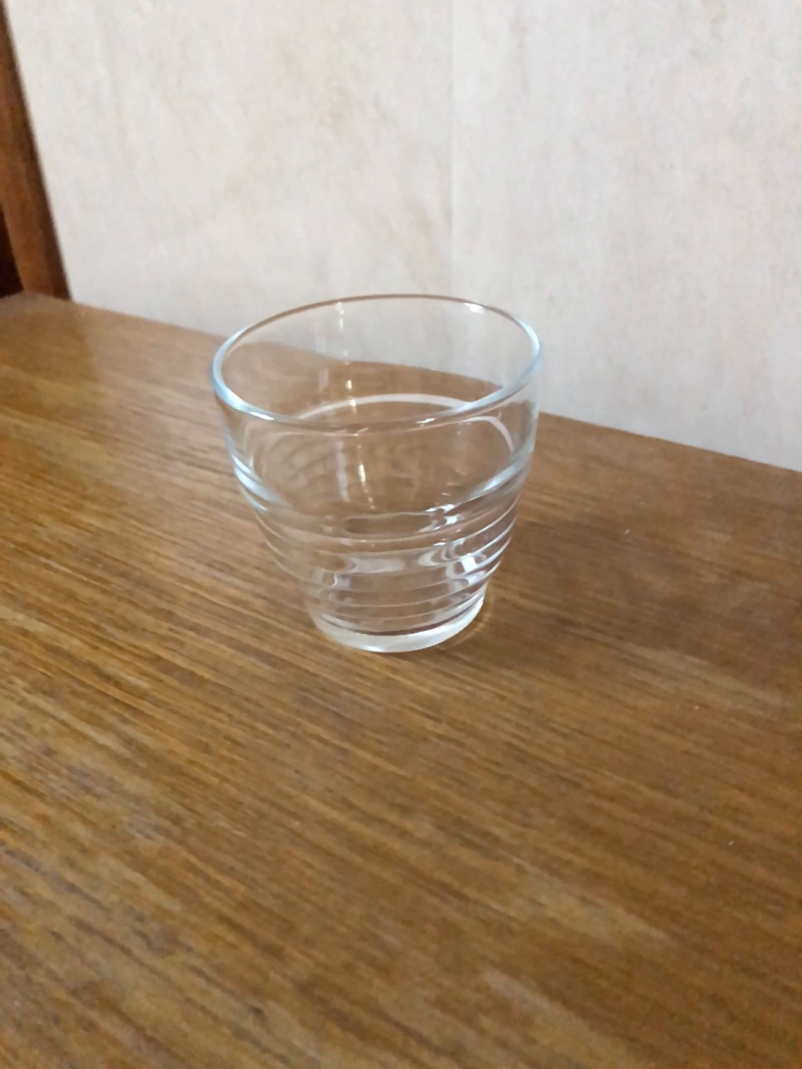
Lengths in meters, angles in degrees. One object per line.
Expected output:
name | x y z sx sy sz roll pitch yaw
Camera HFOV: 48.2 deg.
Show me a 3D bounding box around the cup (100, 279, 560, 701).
cup | -0.008 -0.016 0.209 0.080 0.060 0.081 -1 33 1
